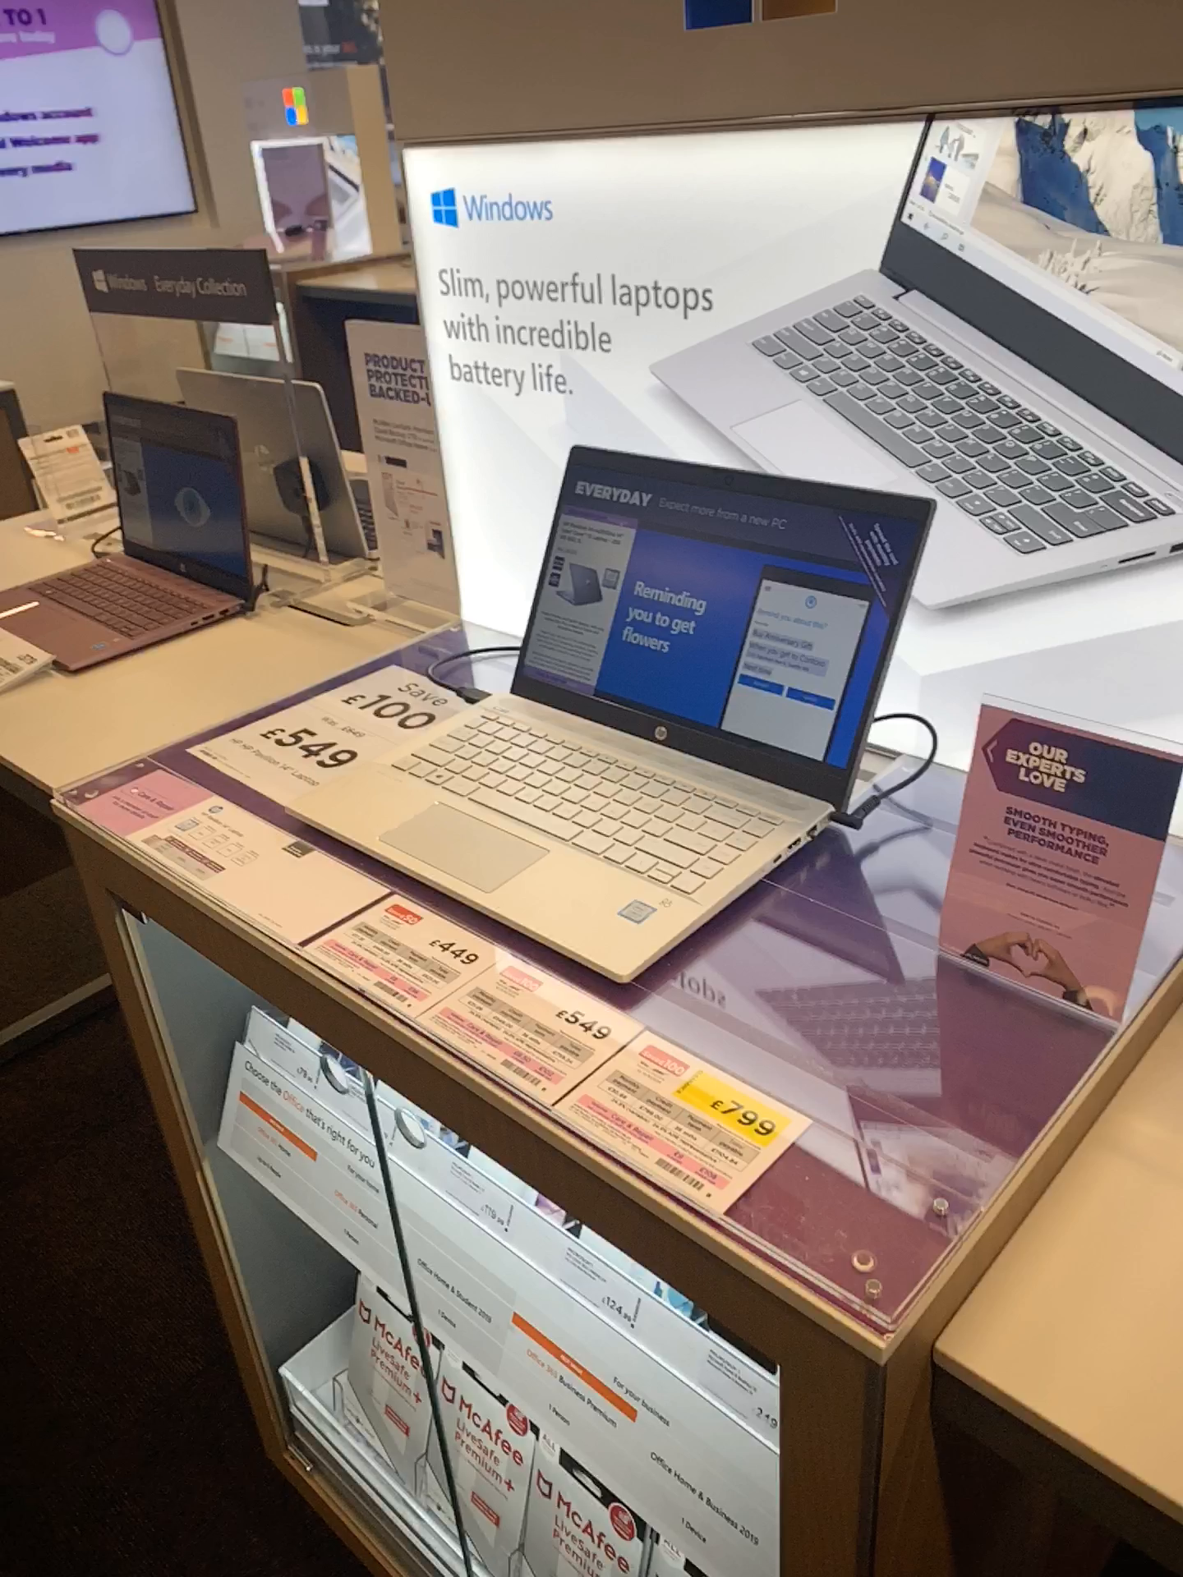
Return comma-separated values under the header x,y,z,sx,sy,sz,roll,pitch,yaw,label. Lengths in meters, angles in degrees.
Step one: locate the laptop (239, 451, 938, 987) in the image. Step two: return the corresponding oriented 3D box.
x,y,z,sx,sy,sz,roll,pitch,yaw,label
0.004,-0.081,0.815,0.314,0.171,0.323,21,39,38,laptop
